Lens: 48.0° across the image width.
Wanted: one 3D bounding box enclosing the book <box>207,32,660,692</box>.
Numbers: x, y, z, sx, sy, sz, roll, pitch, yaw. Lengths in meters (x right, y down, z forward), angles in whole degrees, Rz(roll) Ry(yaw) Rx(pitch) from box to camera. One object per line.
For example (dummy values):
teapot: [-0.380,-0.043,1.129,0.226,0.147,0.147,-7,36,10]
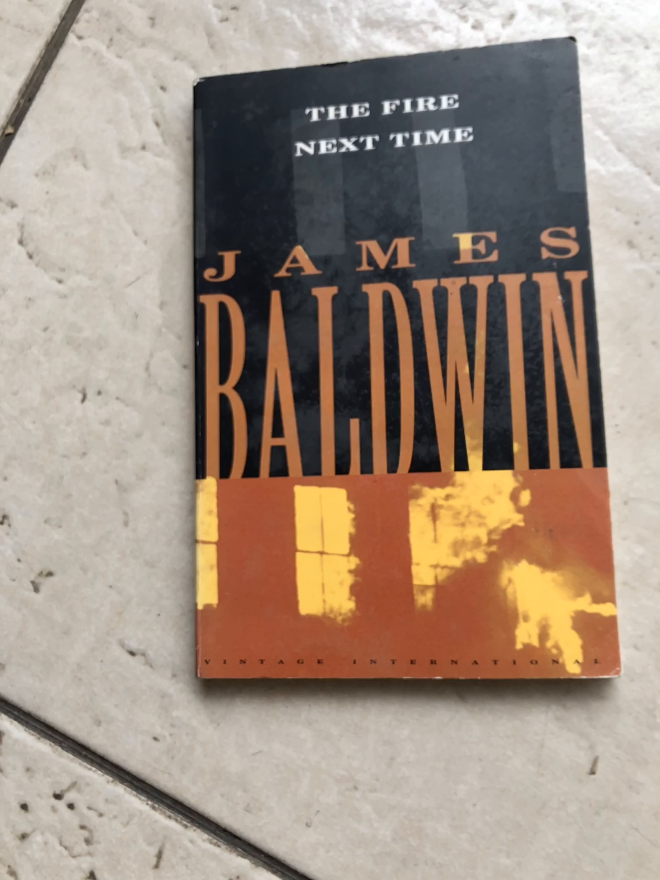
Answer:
book: [0.026,-0.025,0.237,0.130,0.016,0.200,-2,82,8]
